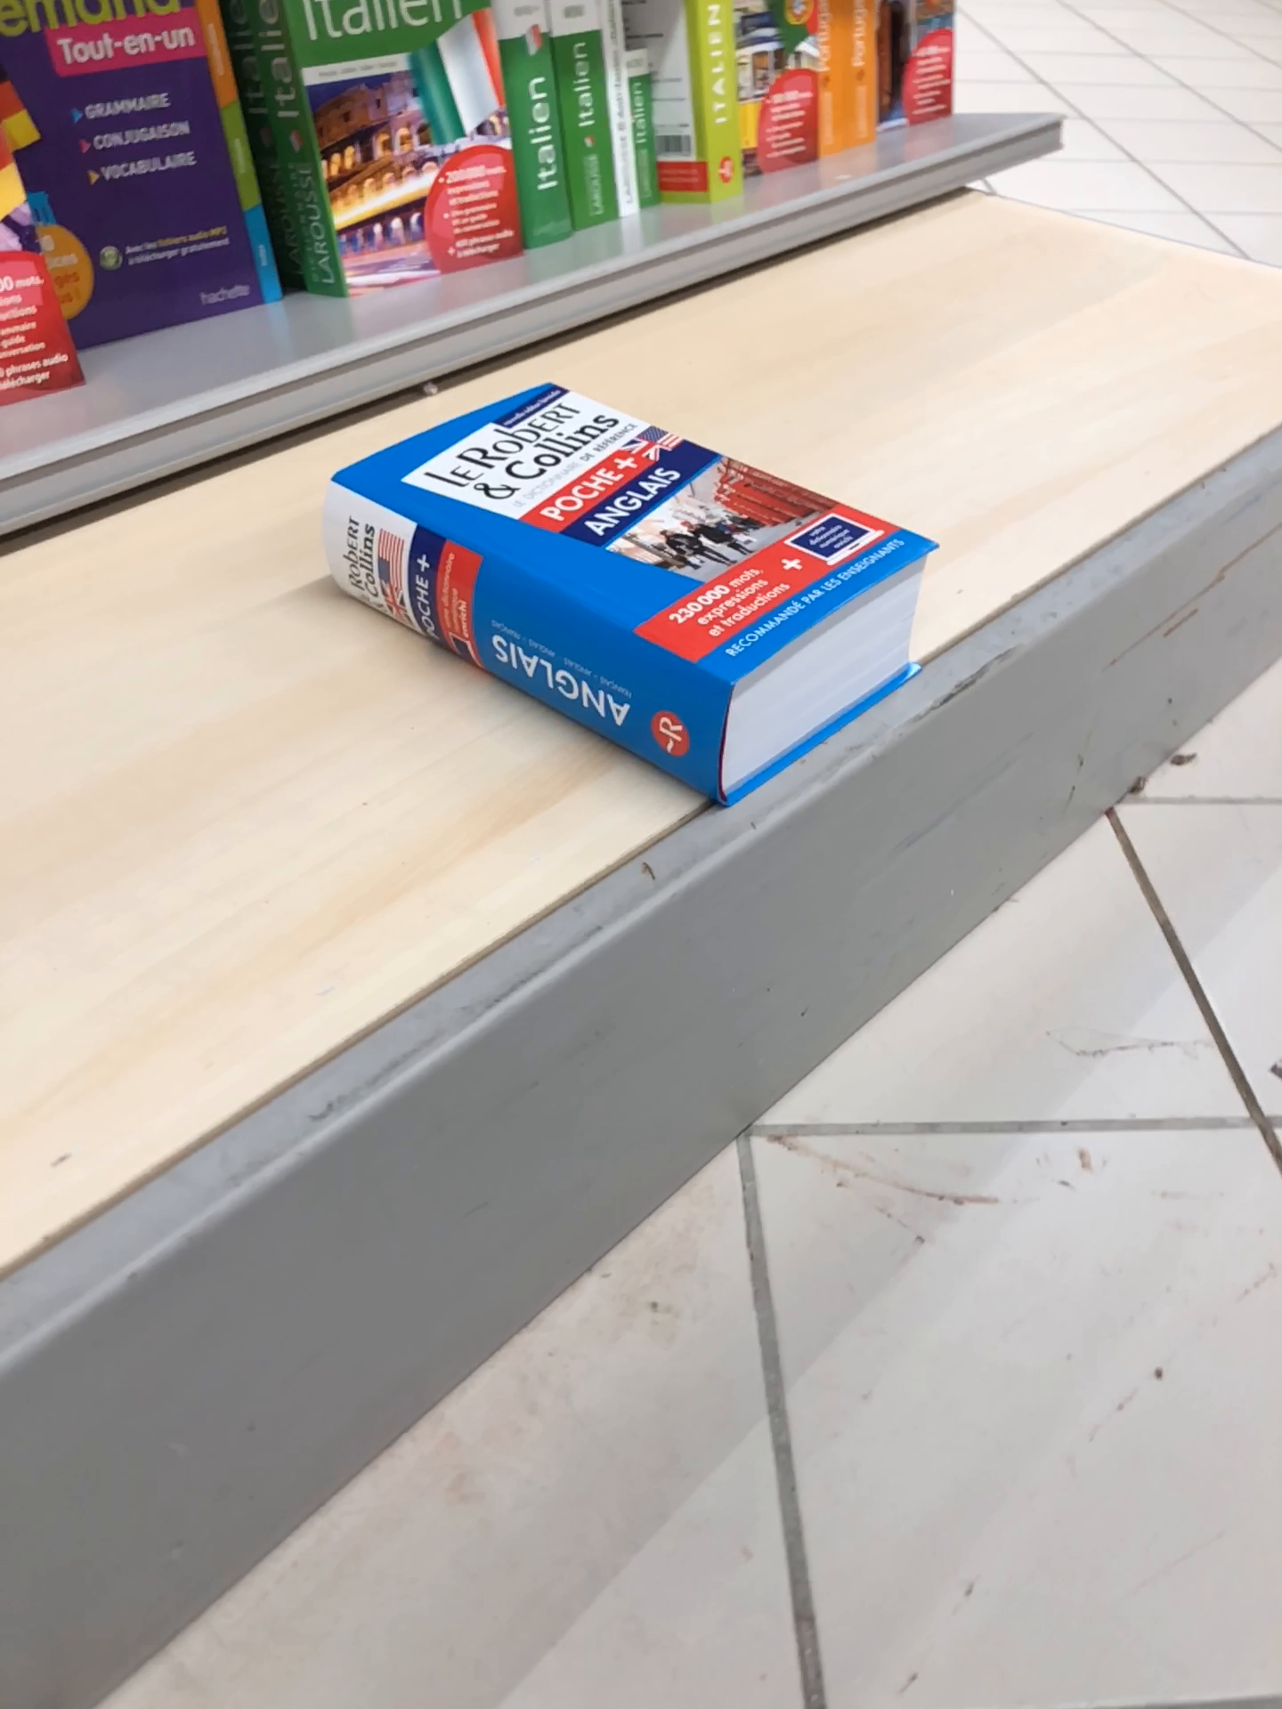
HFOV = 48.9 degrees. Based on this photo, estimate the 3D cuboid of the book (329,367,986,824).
[{"bbox_3d":[0.003,-0.101,0.494,0.183,0.051,0.129,31,48,28],"label":"book"}]
